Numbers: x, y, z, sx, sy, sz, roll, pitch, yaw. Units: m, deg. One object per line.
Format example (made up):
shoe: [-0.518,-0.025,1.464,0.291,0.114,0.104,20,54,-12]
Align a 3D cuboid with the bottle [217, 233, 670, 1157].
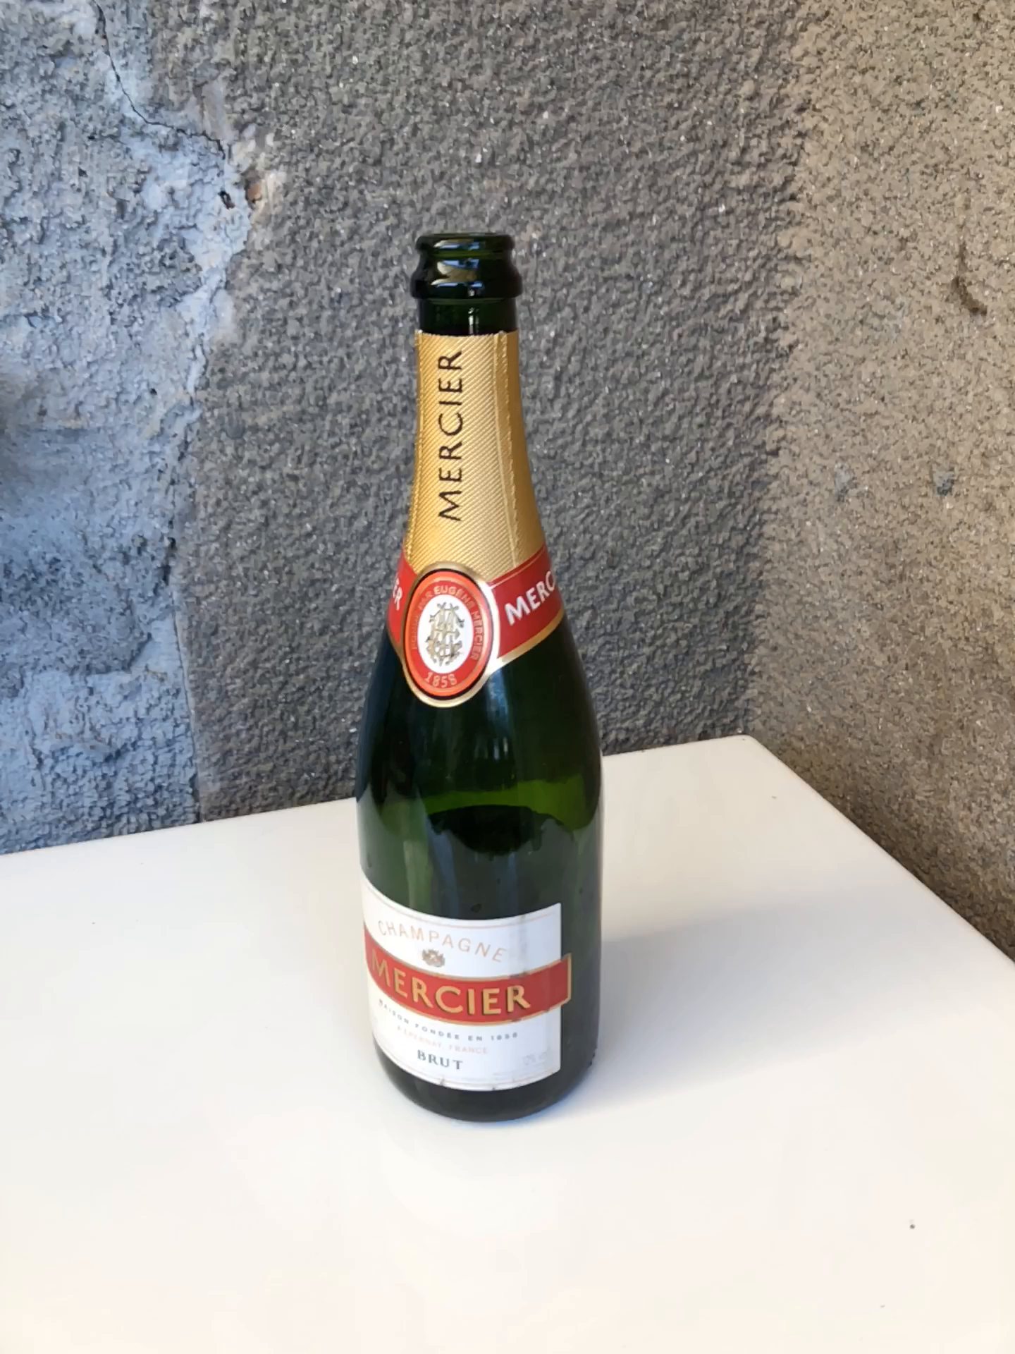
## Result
bottle: [-0.013,0.008,0.380,0.100,0.288,0.091,10,26,22]
